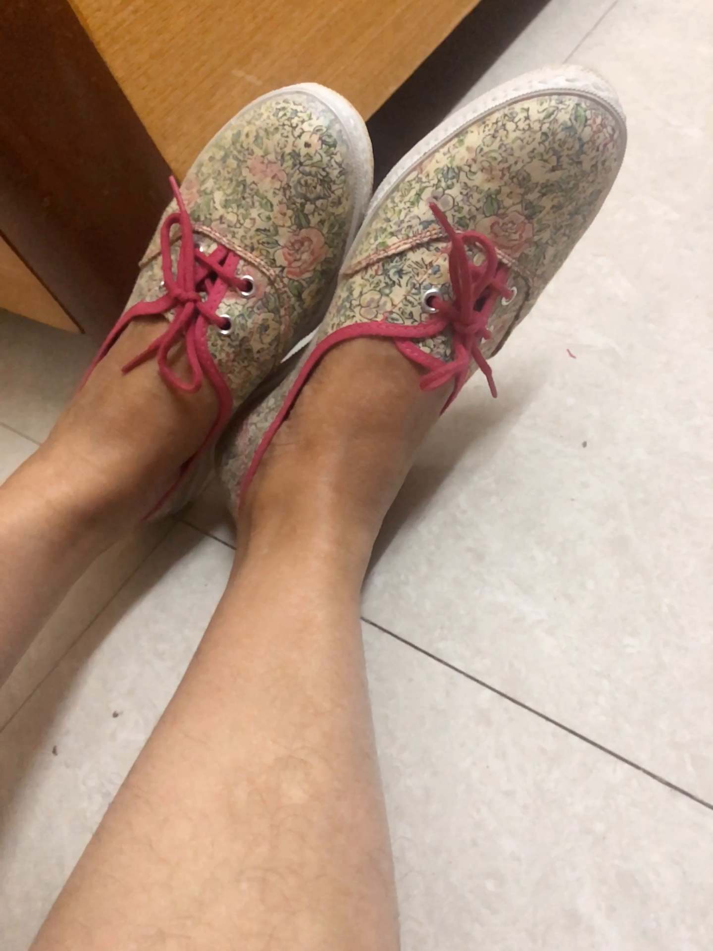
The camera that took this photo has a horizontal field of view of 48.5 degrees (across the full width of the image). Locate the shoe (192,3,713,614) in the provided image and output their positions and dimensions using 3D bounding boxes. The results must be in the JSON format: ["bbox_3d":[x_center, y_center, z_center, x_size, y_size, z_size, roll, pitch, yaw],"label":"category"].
[{"bbox_3d":[0.027,-0.056,0.360,0.259,0.090,0.070,-52,26,29],"label":"shoe"}]

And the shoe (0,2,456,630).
[{"bbox_3d":[-0.072,-0.056,0.363,0.259,0.090,0.070,-55,-3,29],"label":"shoe"}]
